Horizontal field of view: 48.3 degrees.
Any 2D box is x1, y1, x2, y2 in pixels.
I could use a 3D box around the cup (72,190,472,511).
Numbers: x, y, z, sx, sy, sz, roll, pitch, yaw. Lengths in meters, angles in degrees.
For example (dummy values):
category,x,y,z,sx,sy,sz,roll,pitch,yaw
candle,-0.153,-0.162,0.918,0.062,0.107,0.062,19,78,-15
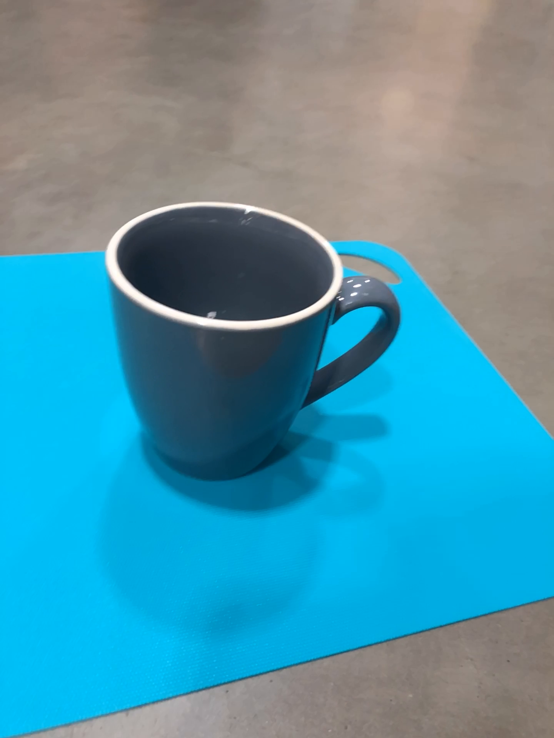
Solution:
category,x,y,z,sx,sy,sz,roll,pitch,yaw
cup,-0.009,-0.015,0.261,0.130,0.080,0.090,-9,43,-20
